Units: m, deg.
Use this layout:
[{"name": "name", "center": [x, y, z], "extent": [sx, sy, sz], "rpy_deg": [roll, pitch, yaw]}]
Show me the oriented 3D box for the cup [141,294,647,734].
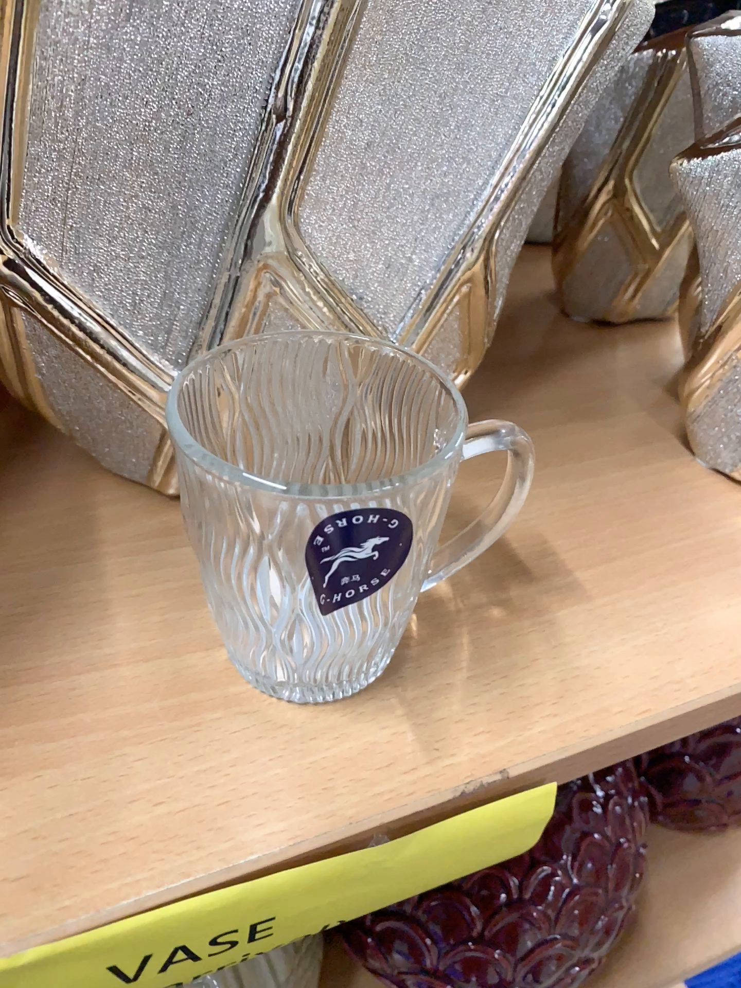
[{"name": "cup", "center": [0.001, -0.001, 0.203], "extent": [0.100, 0.070, 0.070], "rpy_deg": [-11, 40, -20]}]
